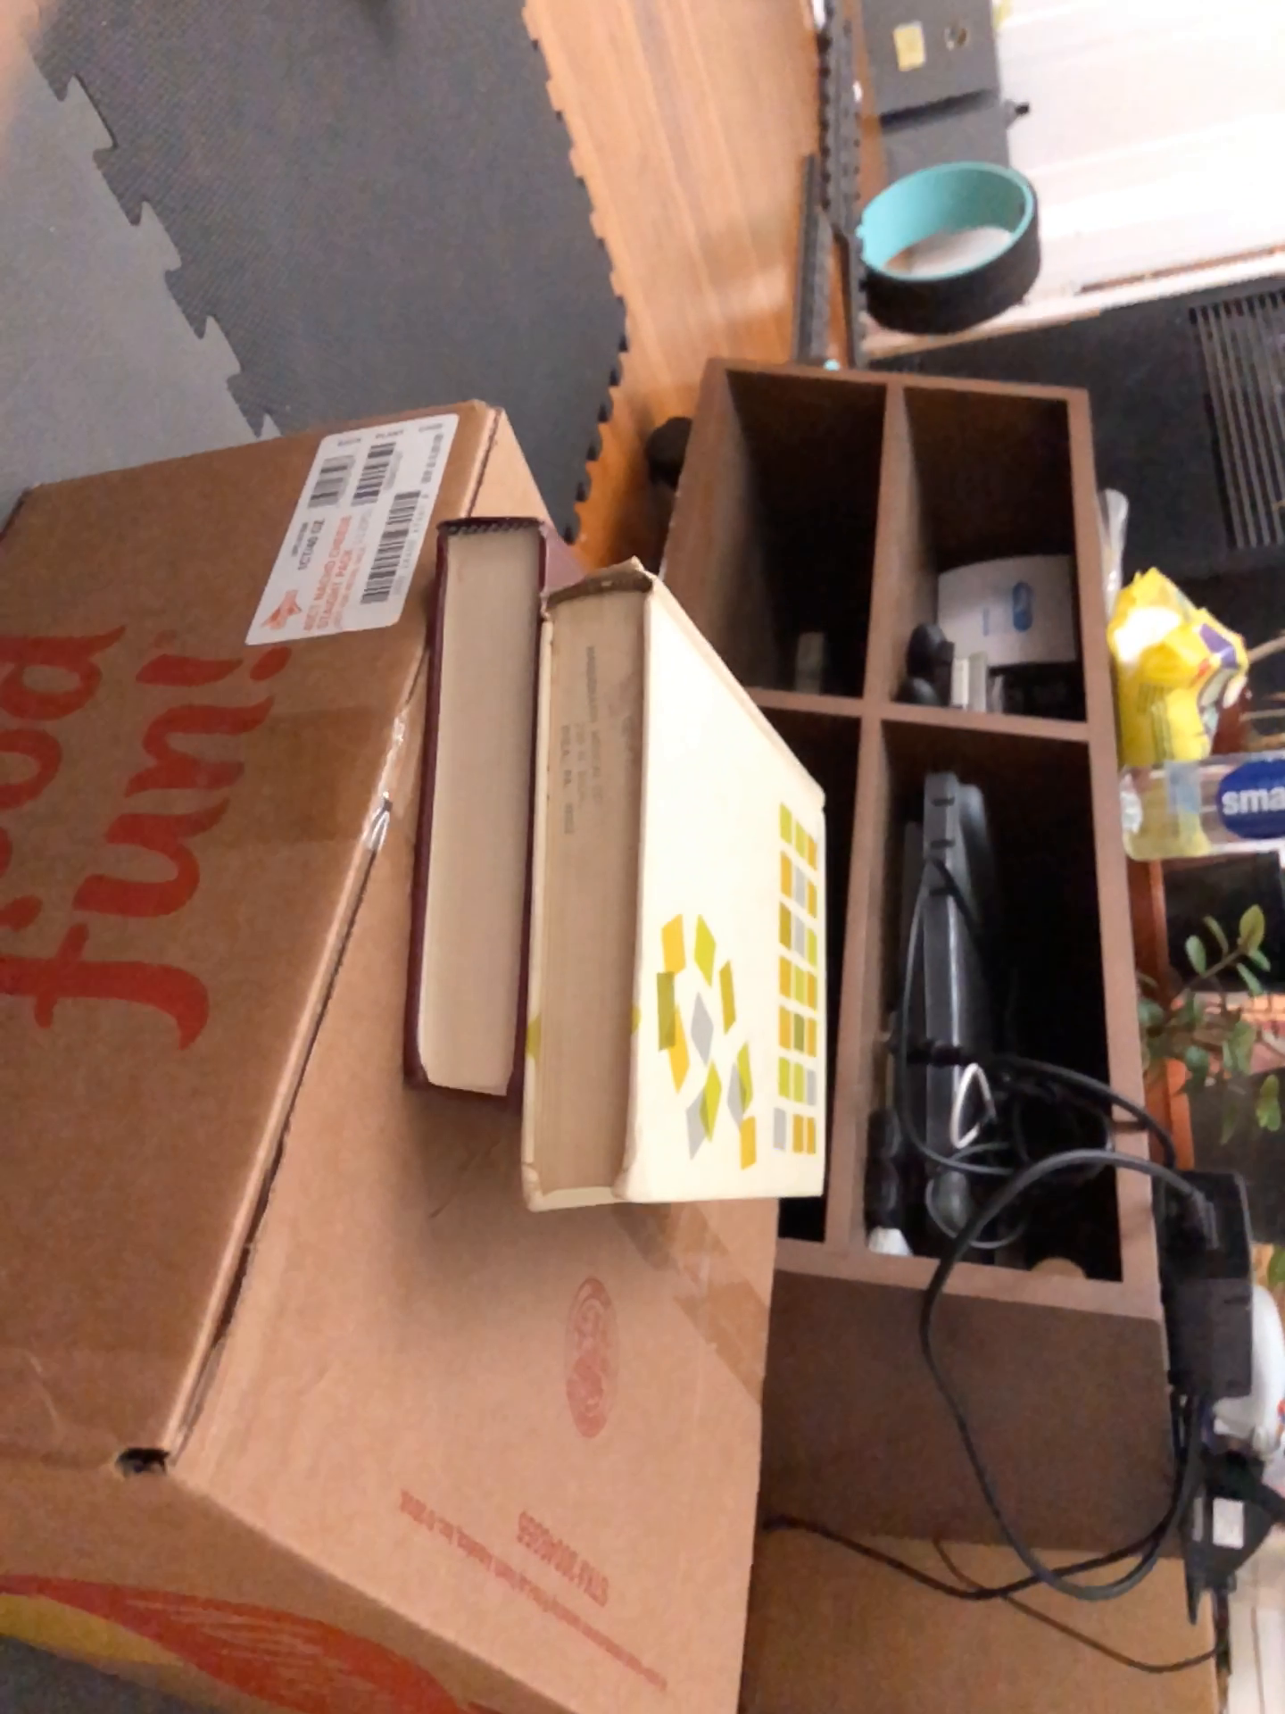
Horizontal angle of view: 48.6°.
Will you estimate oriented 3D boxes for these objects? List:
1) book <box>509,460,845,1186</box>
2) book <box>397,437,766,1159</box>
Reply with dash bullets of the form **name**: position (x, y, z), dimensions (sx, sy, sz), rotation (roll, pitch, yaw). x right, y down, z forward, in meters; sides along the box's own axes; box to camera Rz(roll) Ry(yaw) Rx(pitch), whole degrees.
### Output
- **book**: position (0.023, 0.013, 0.466), dimensions (0.251, 0.040, 0.180), rotation (35, 53, -69)
- **book**: position (-0.005, 0.005, 0.487), dimensions (0.251, 0.040, 0.180), rotation (41, 47, -68)
